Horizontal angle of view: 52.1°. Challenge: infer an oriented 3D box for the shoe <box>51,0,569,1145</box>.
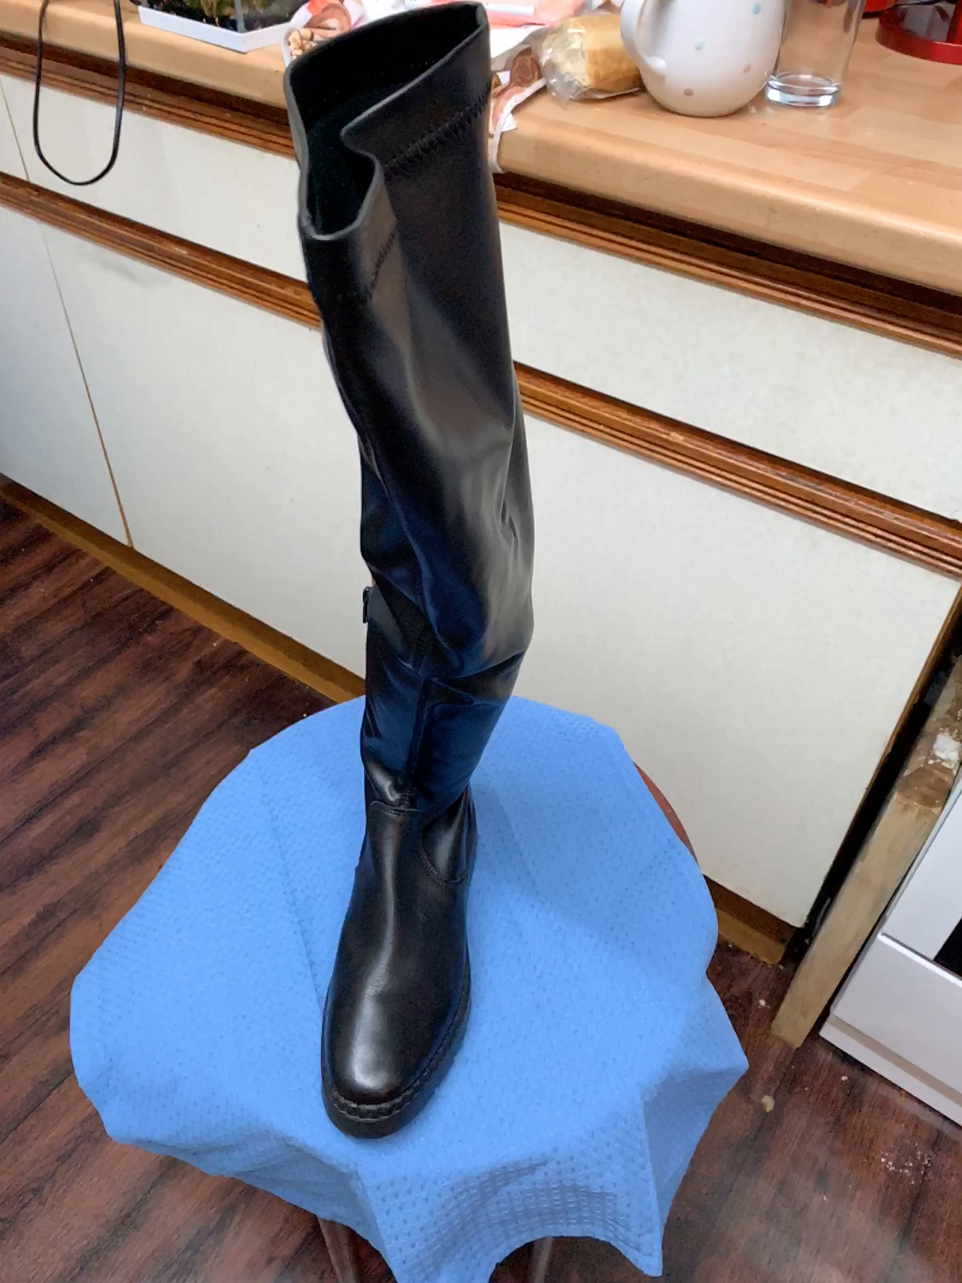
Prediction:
[{"bbox_3d":[-0.036,0.002,0.500,0.106,0.535,0.273,5,43,4],"label":"shoe"}]
